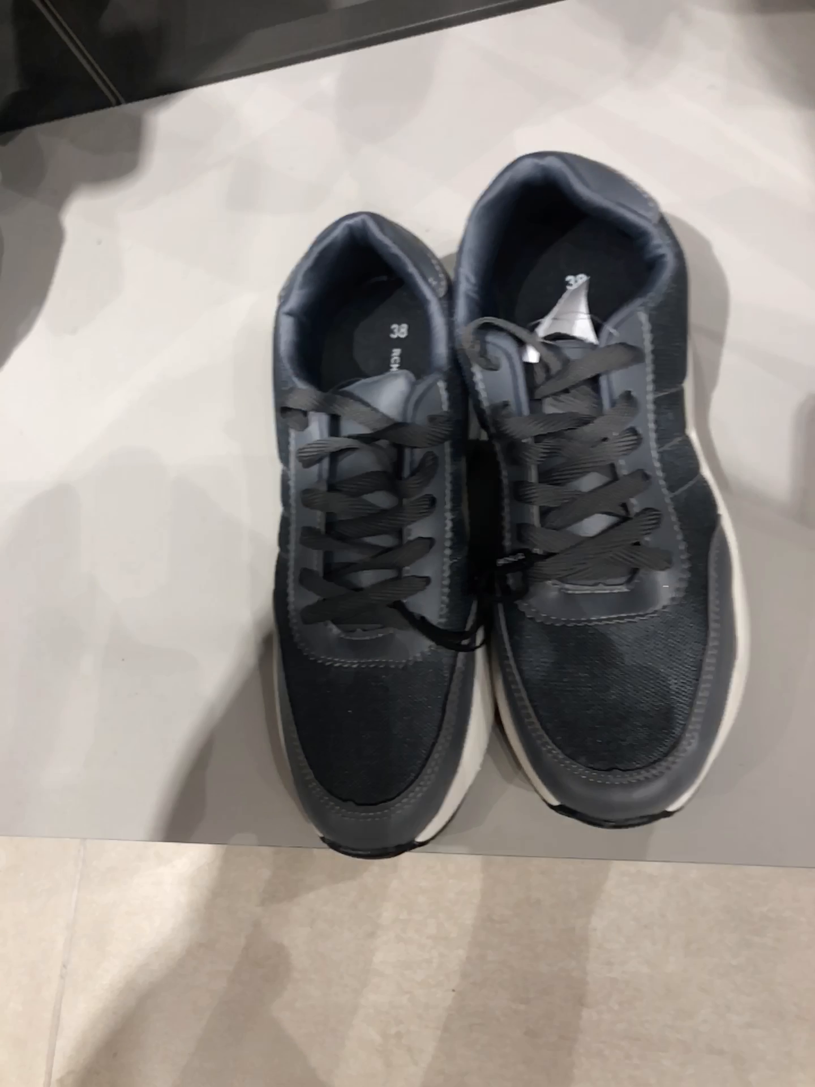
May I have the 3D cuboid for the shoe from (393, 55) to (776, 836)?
[{"bbox_3d":[0.063,-0.033,0.360,0.110,0.100,0.280,-7,69,16],"label":"shoe"}]

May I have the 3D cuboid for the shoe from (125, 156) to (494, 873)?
[{"bbox_3d":[-0.028,-0.009,0.392,0.110,0.100,0.280,-5,70,17],"label":"shoe"}]
